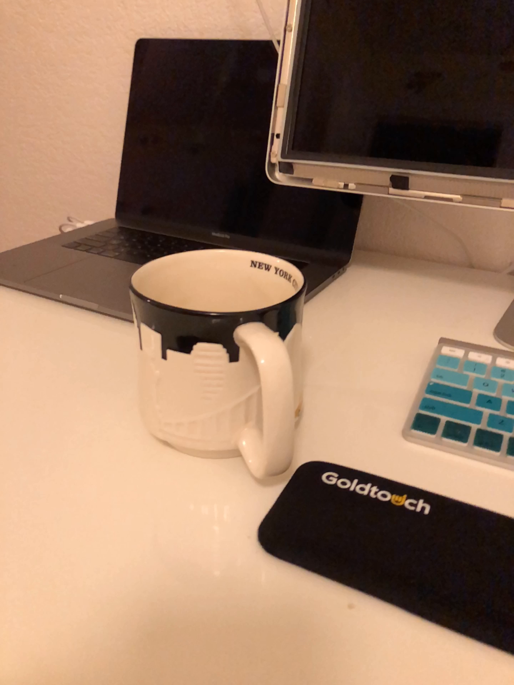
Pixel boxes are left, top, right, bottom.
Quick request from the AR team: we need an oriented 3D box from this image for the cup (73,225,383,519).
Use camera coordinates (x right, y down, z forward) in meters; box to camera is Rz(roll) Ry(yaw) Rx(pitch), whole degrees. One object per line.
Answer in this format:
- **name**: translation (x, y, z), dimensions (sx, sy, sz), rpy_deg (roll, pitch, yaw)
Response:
- **cup**: translation (-0.025, 0.001, 0.331), dimensions (0.110, 0.089, 0.151), rpy_deg (-15, 31, -29)
